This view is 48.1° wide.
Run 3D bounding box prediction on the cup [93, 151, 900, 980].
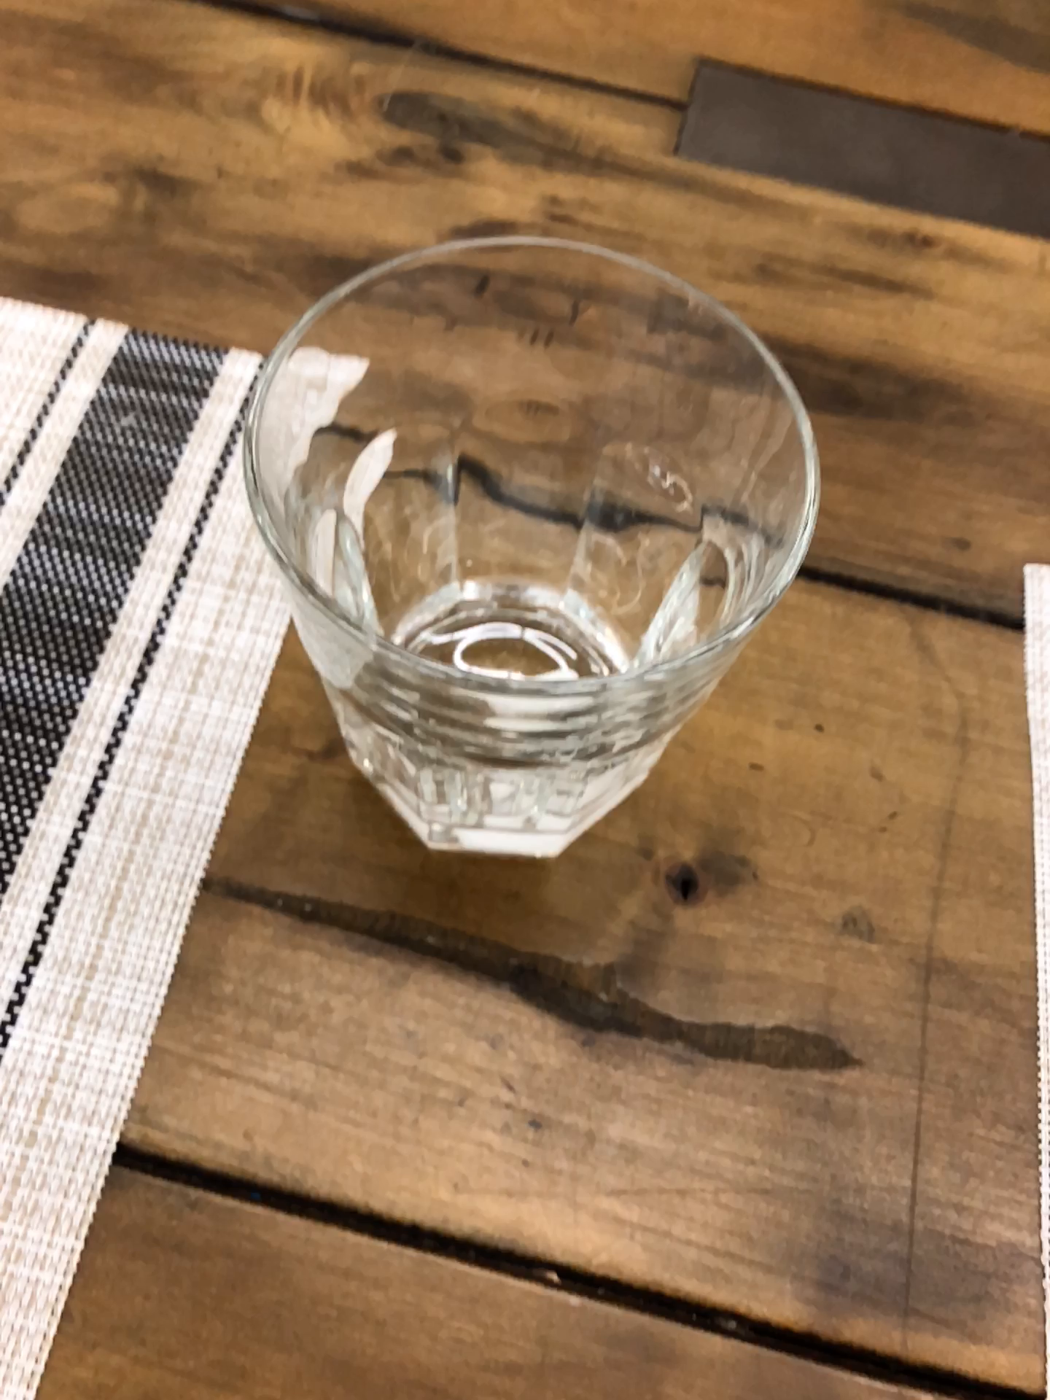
[{"bbox_3d":[-0.002,-0.021,0.207,0.087,0.081,0.090,2,62,-3],"label":"cup"}]
